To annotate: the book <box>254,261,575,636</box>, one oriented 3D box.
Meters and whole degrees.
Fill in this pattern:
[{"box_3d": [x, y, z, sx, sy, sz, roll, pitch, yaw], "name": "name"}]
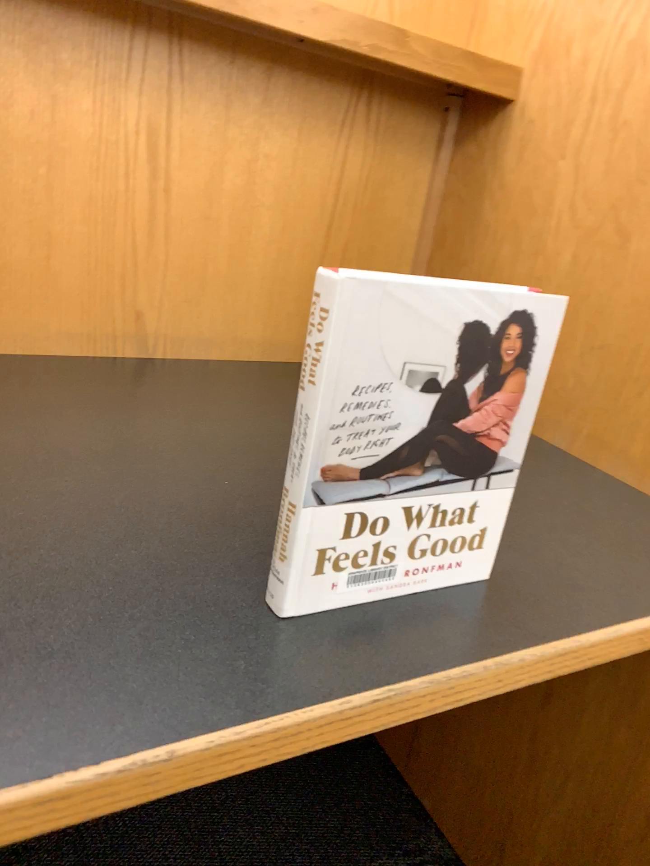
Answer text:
[{"box_3d": [0.066, 0.014, 0.480, 0.210, 0.249, 0.030, -3, 23, -32], "name": "book"}]
